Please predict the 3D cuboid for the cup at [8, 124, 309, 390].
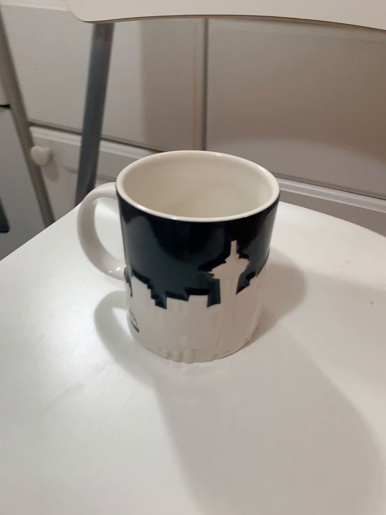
[{"bbox_3d":[-0.016,-0.010,0.264,0.143,0.100,0.105,17,43,20],"label":"cup"}]
